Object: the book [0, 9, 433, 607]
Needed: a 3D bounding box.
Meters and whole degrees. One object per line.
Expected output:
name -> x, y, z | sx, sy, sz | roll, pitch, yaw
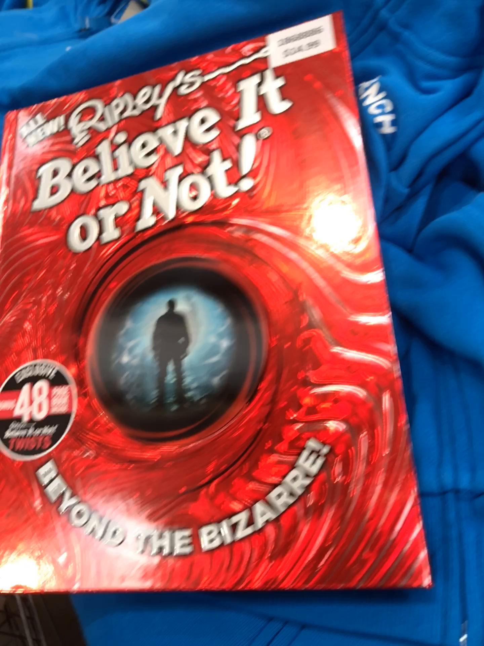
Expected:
book -> -0.047, -0.013, 0.303 | 0.244, 0.028, 0.303 | -9, 70, 16
